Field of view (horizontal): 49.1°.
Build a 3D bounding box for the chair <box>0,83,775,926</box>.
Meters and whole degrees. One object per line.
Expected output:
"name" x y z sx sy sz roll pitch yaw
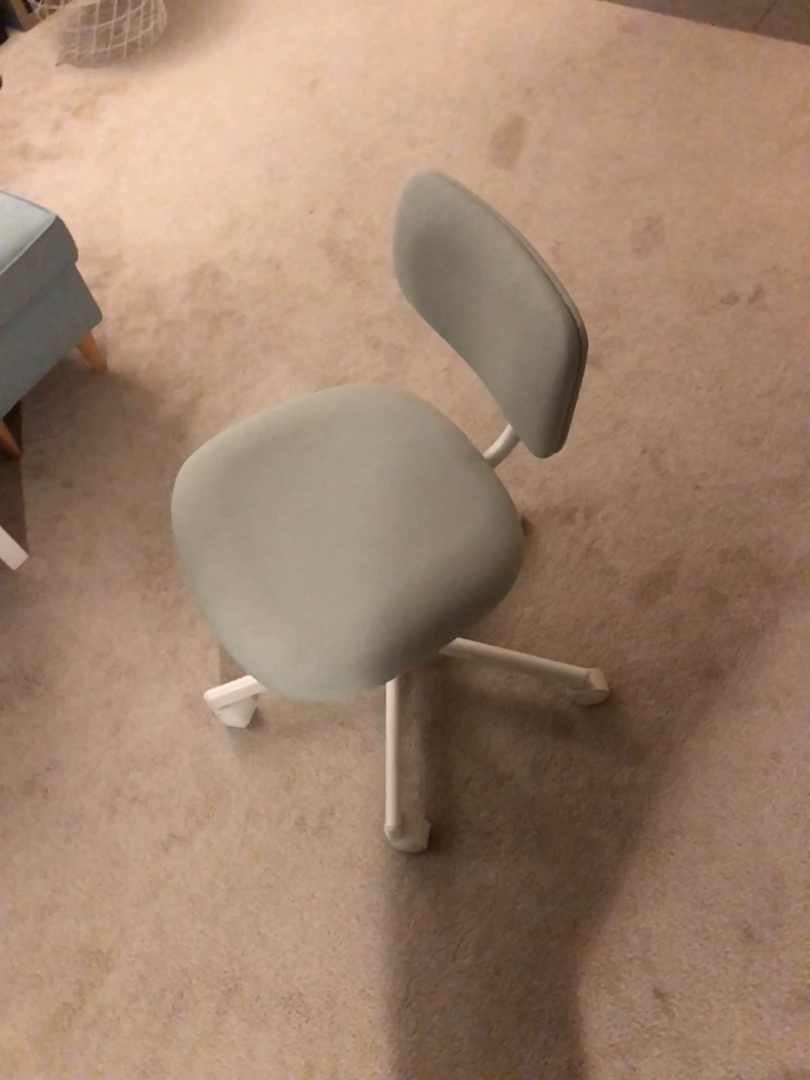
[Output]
"chair" -0.061 -0.016 1.179 0.640 0.677 0.662 -25 57 -7
